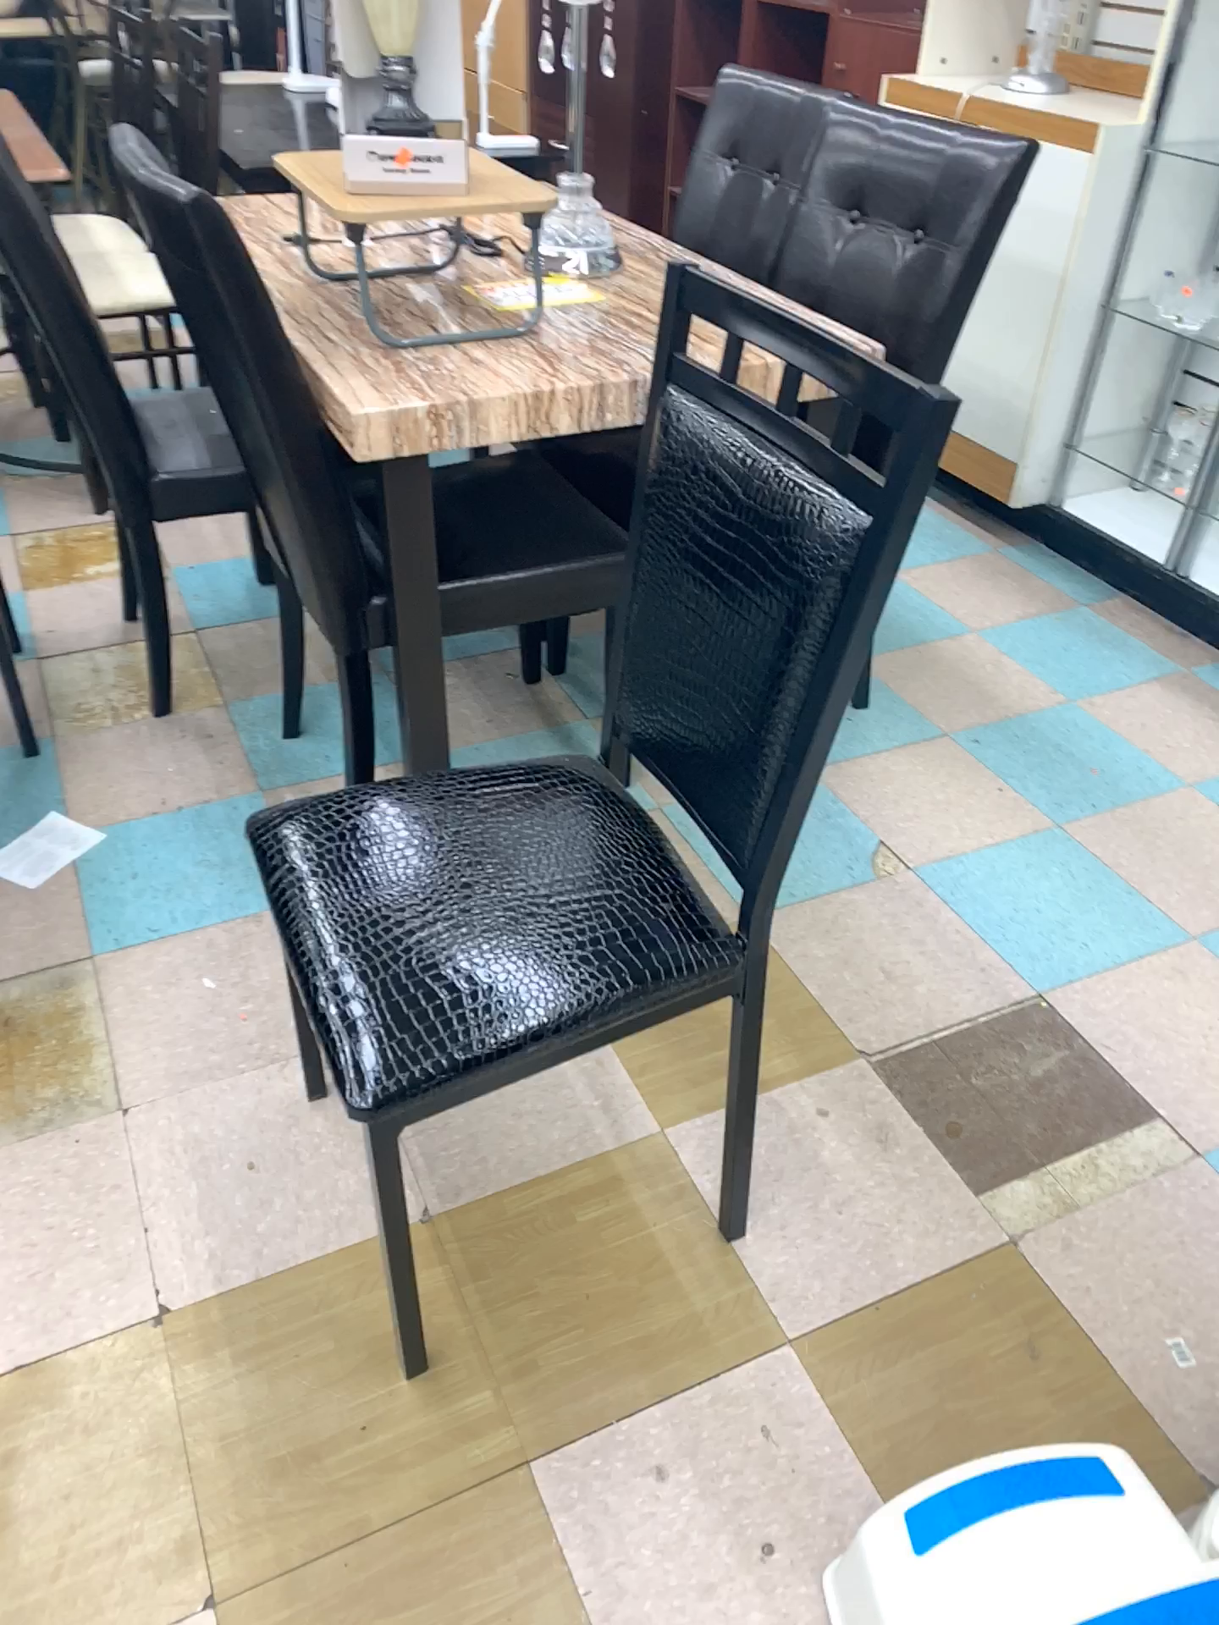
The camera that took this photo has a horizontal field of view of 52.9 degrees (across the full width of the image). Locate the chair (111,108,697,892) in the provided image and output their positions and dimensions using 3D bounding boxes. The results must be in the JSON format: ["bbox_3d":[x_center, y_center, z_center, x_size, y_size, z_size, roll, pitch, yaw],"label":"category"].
[{"bbox_3d":[-0.288,-0.474,1.834,0.595,0.923,0.533,-16,40,-22],"label":"chair"}]

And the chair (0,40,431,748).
[{"bbox_3d":[-0.792,-0.792,2.317,0.675,1.072,0.563,-16,40,-22],"label":"chair"}]

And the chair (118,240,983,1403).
[{"bbox_3d":[-0.081,0.023,1.190,0.505,0.943,0.463,-14,40,-20],"label":"chair"}]
